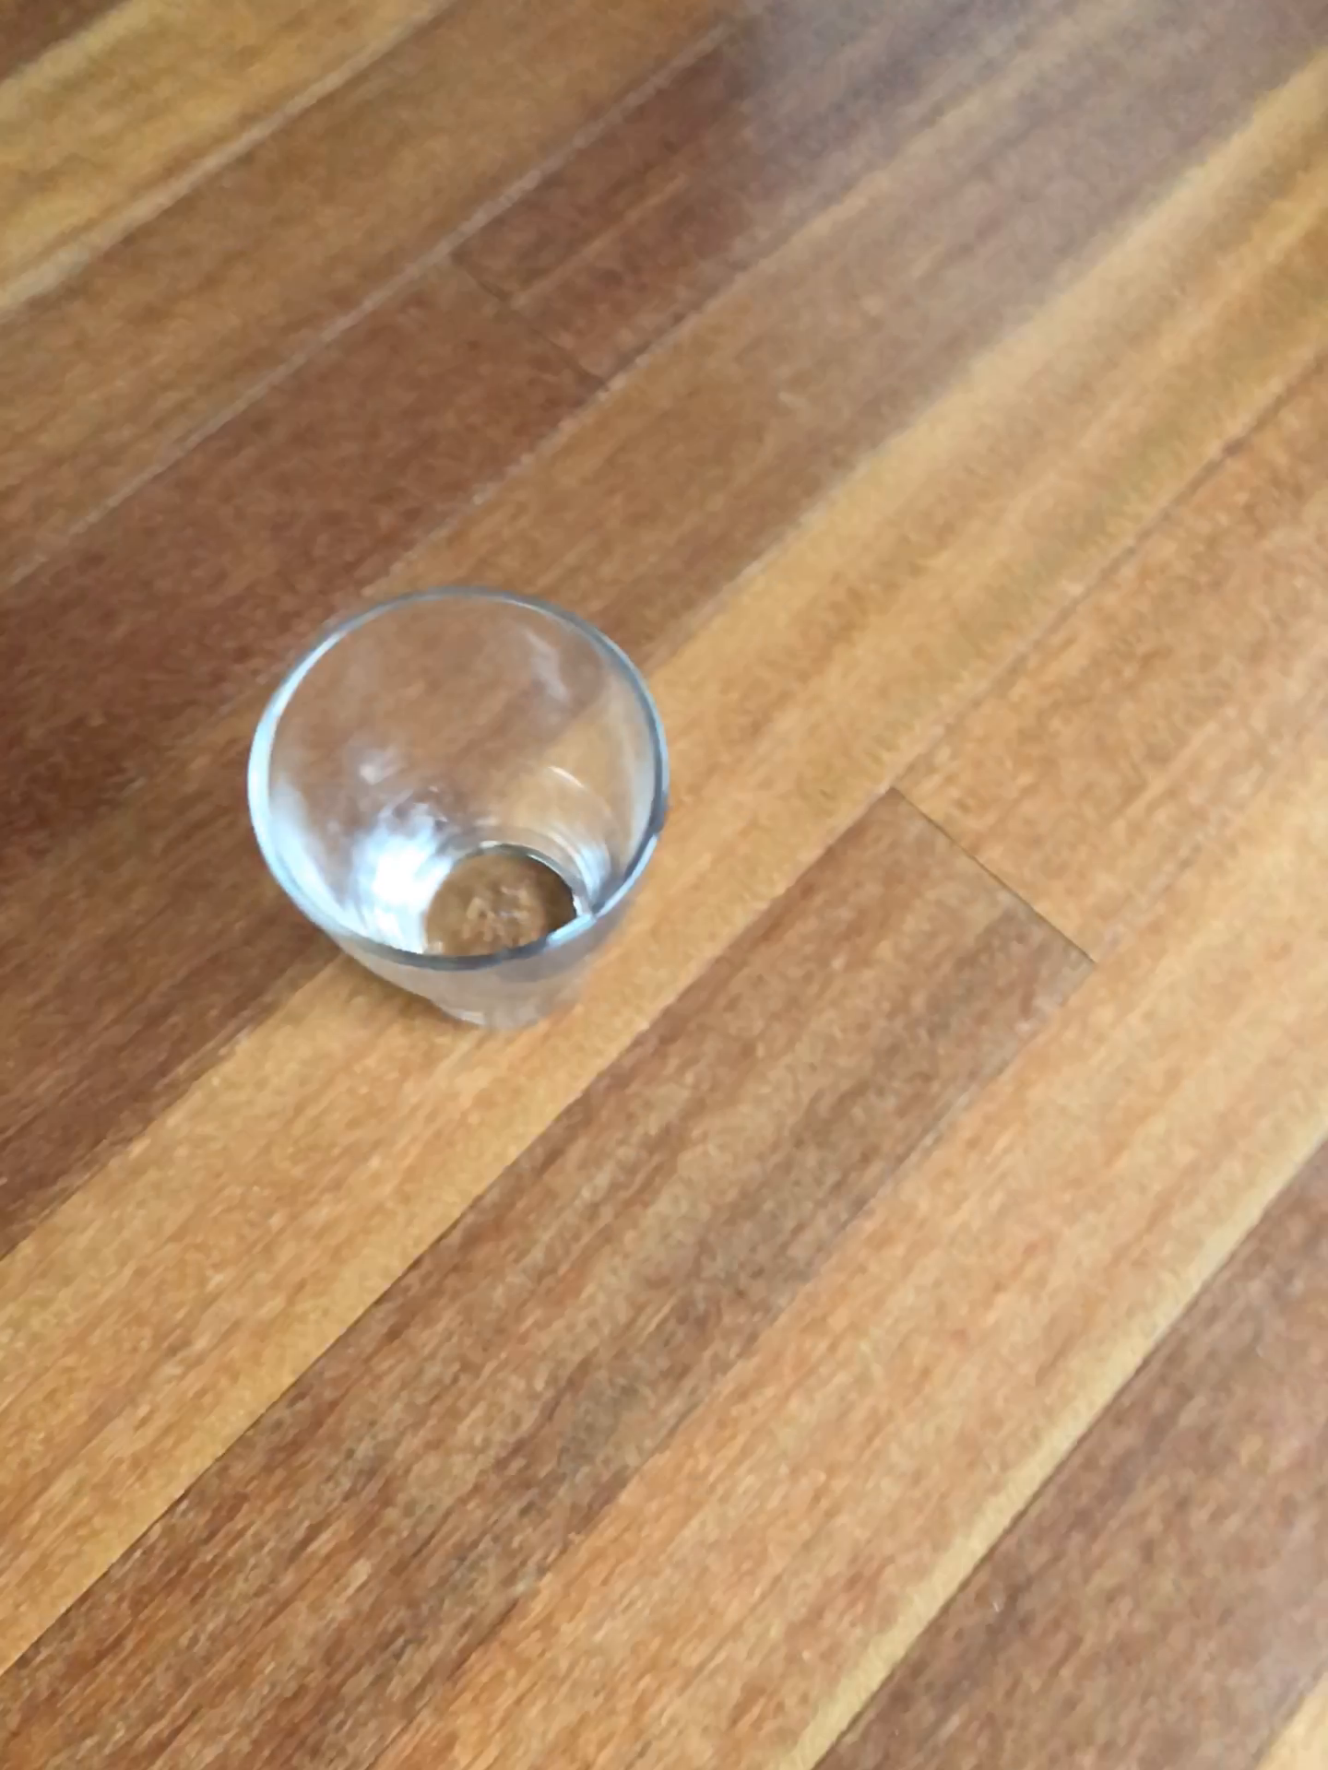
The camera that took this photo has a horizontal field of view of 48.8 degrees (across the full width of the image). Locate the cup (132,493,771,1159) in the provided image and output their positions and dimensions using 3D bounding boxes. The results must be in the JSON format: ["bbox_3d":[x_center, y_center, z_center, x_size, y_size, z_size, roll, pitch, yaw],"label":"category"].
[{"bbox_3d":[-0.043,-0.006,0.343,0.090,0.110,0.090,1,72,-2],"label":"cup"}]
